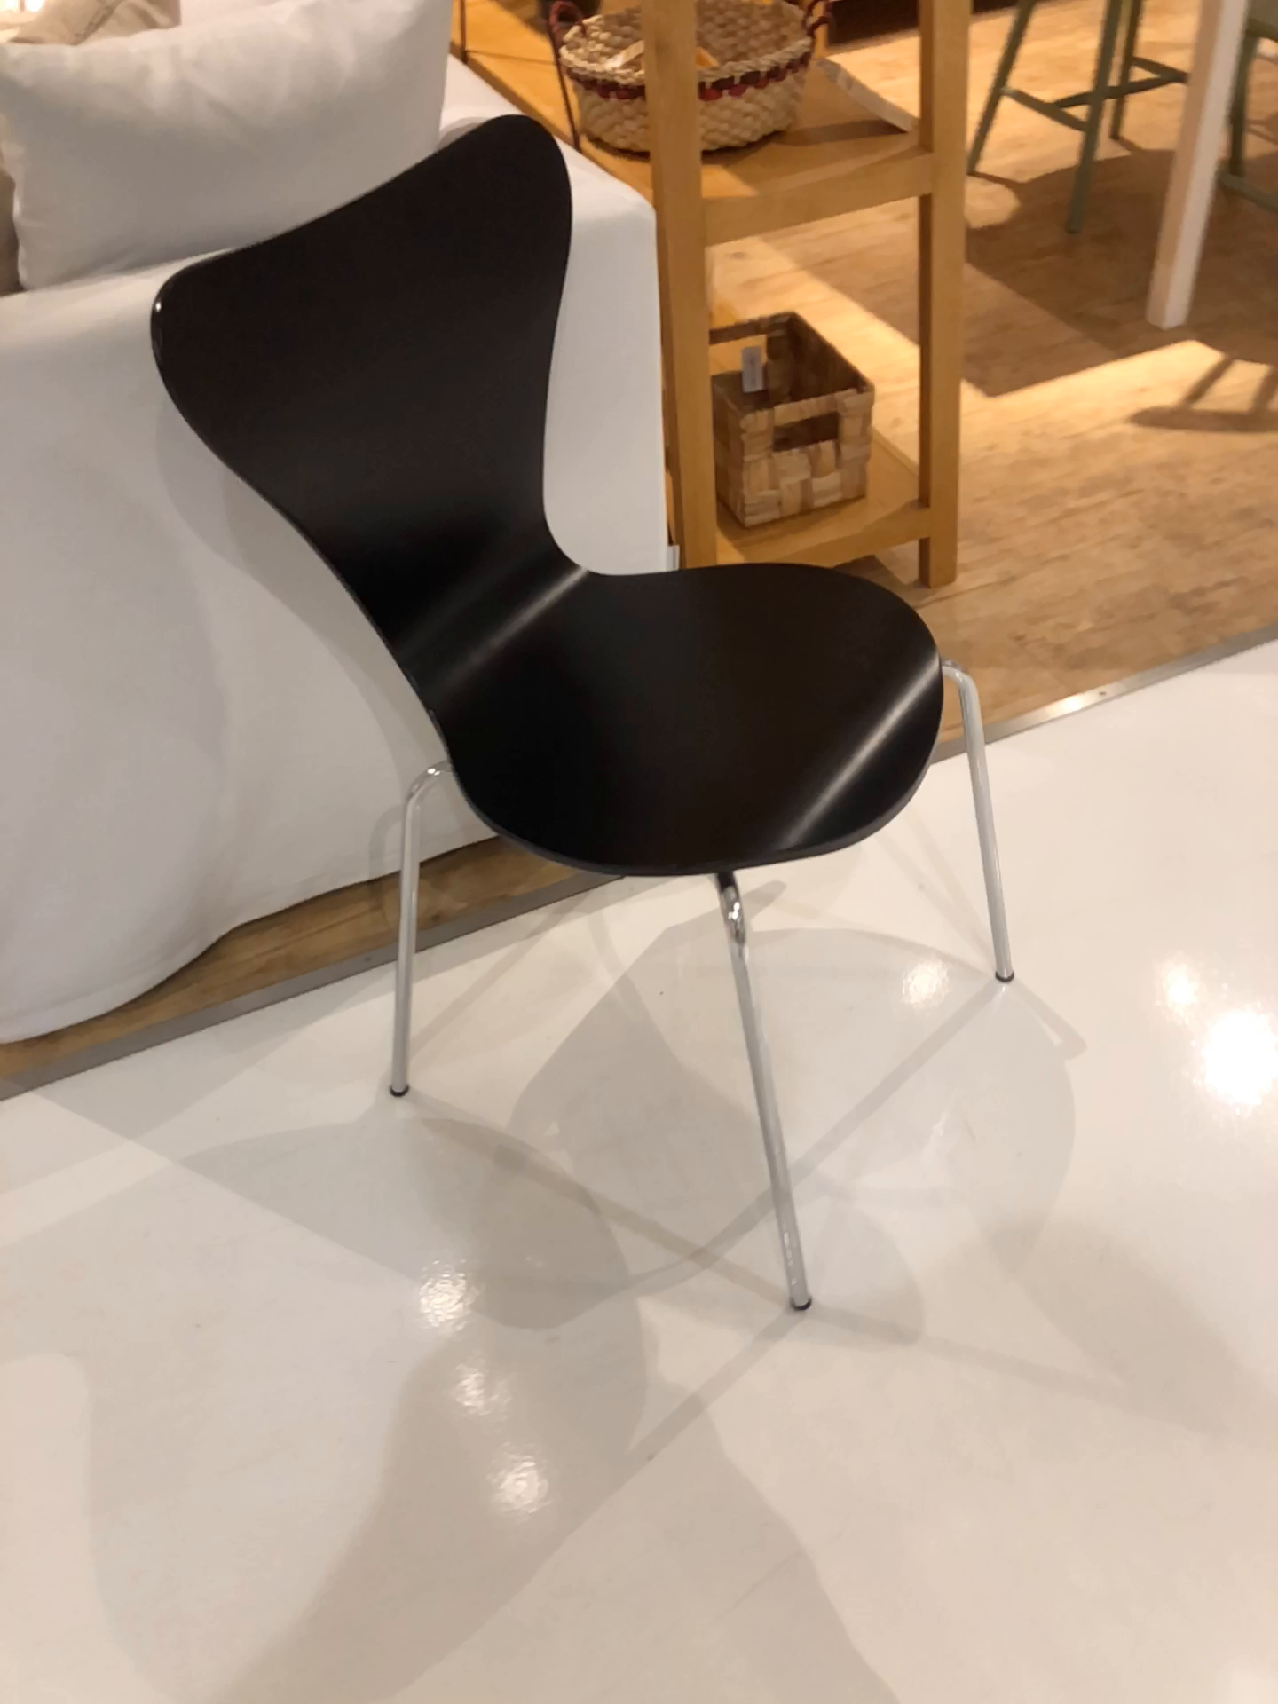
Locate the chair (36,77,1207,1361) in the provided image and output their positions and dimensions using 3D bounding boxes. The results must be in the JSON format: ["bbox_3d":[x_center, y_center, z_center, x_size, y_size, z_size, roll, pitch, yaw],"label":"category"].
[{"bbox_3d":[0.028,-0.115,1.177,0.551,0.774,0.543,23,51,26],"label":"chair"}]
